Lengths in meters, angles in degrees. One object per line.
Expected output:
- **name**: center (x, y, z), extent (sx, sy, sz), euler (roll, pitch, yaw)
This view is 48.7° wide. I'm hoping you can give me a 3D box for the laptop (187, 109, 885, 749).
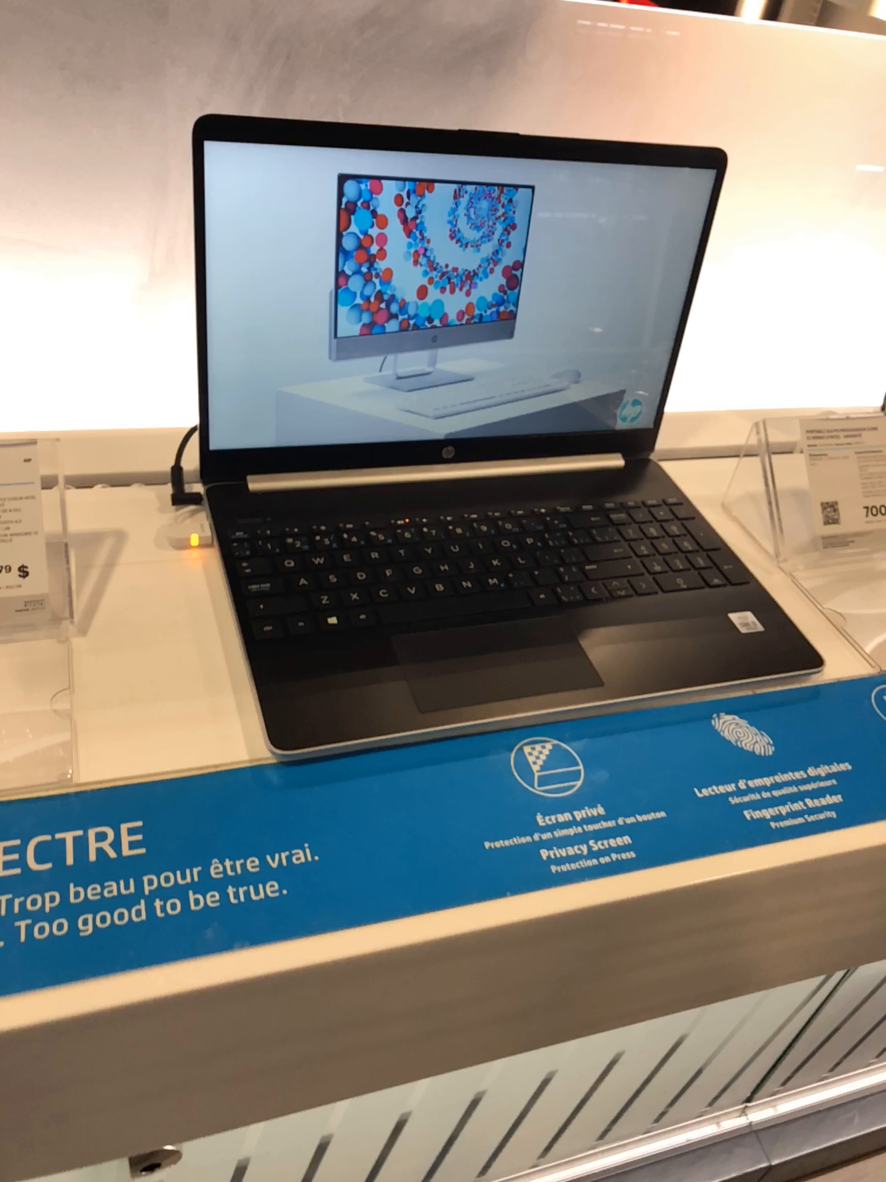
- **laptop**: center (0.047, -0.115, 0.593), extent (0.356, 0.221, 0.284), euler (-6, 43, -20)
